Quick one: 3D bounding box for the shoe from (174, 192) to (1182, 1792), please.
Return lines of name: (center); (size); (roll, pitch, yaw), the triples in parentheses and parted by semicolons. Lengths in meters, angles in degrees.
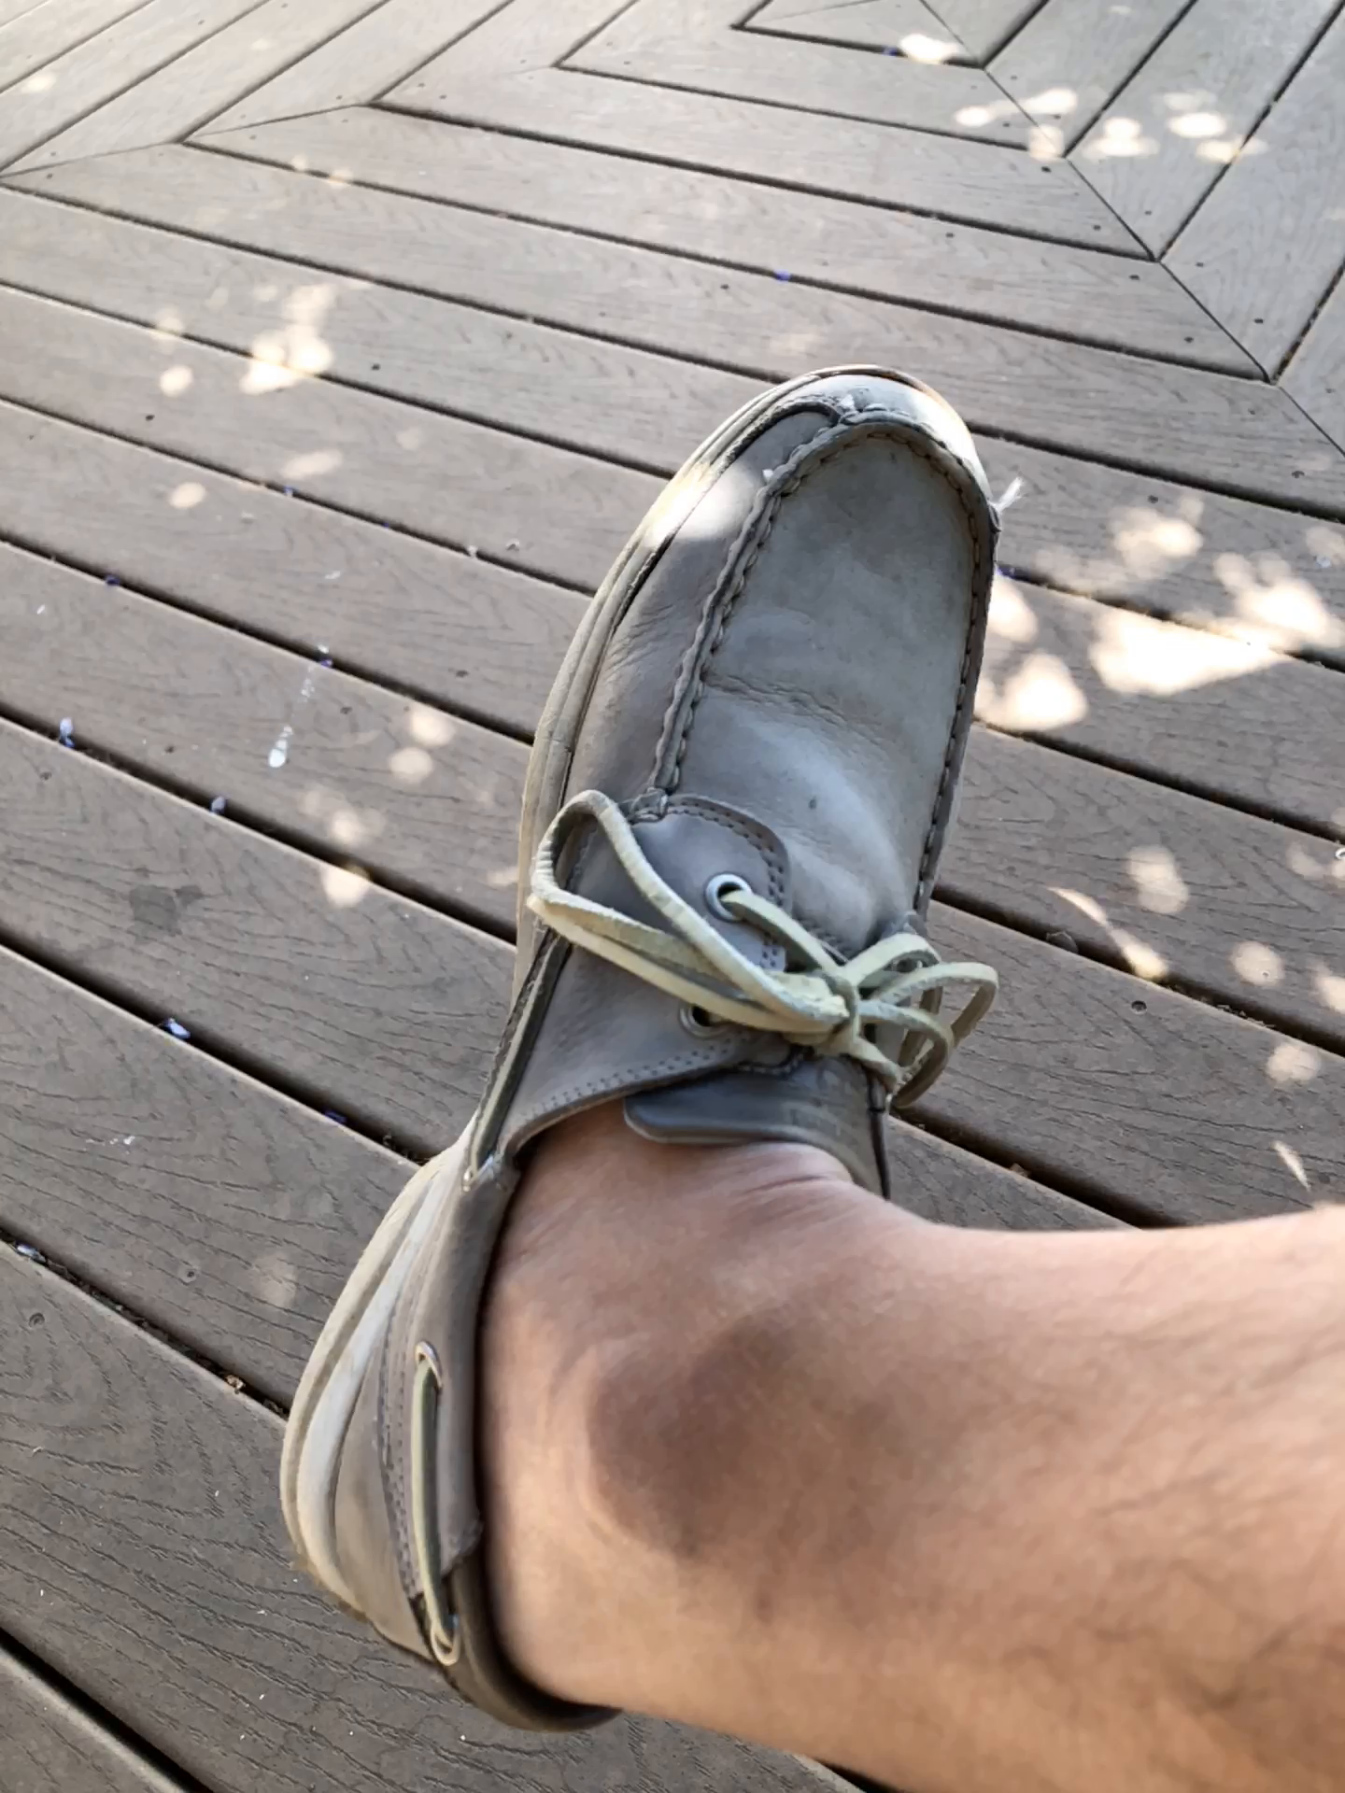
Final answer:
shoe: (0.012, 0.023, 0.346); (0.083, 0.116, 0.326); (3, 71, 53)
